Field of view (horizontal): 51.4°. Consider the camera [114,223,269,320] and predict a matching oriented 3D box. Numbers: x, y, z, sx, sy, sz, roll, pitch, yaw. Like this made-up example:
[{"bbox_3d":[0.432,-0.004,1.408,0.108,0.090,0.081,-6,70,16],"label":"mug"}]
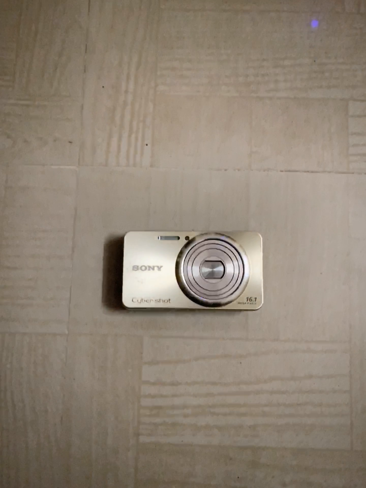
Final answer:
[{"bbox_3d":[0.006,0.018,0.254,0.097,0.019,0.057,3,83,0],"label":"camera"}]
